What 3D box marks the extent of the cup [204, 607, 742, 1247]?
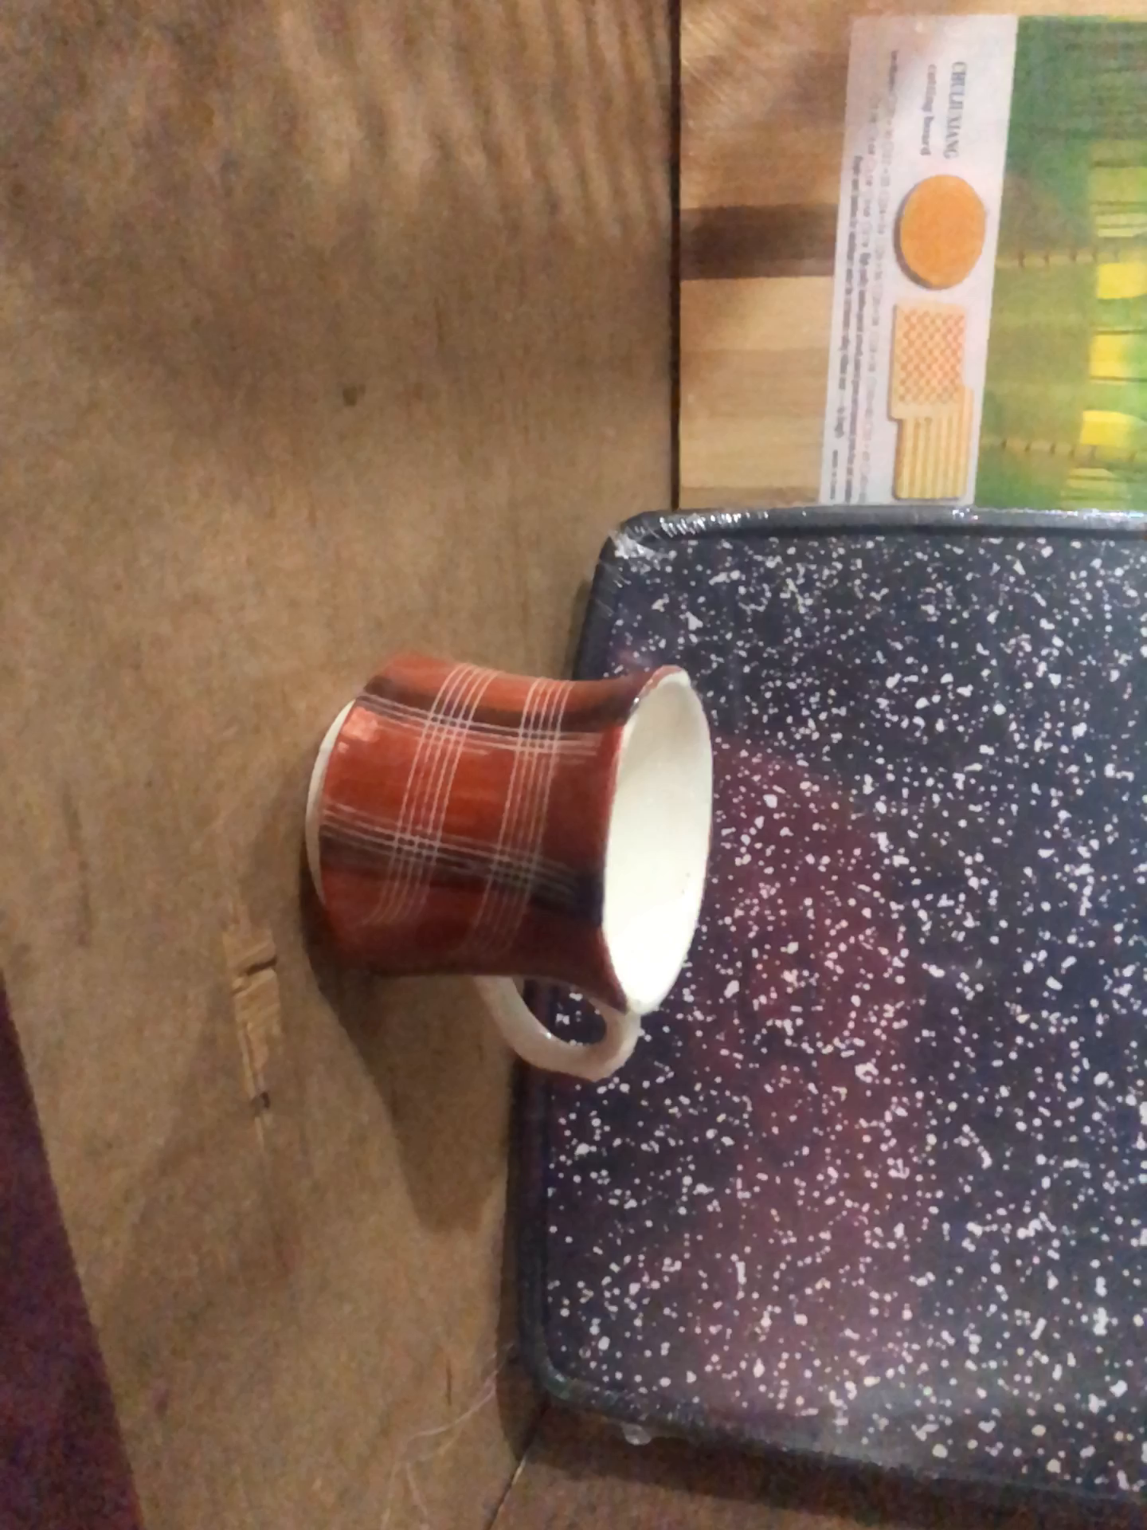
[{"bbox_3d":[-0.011,0.025,0.228,0.060,0.060,0.090,-54,141,-52],"label":"cup"}]
